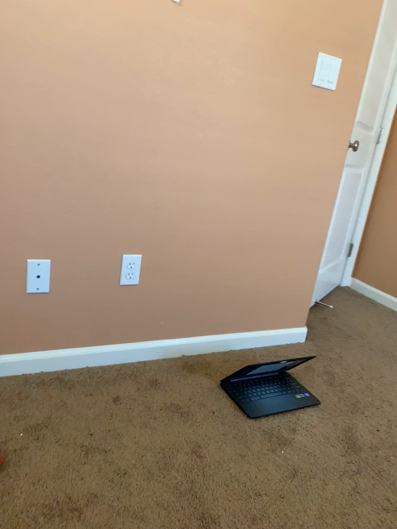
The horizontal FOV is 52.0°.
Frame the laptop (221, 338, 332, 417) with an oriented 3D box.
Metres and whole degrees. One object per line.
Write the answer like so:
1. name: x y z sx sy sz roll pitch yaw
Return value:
1. laptop: 0.261 0.371 1.385 0.292 0.140 0.192 1 20 -28
